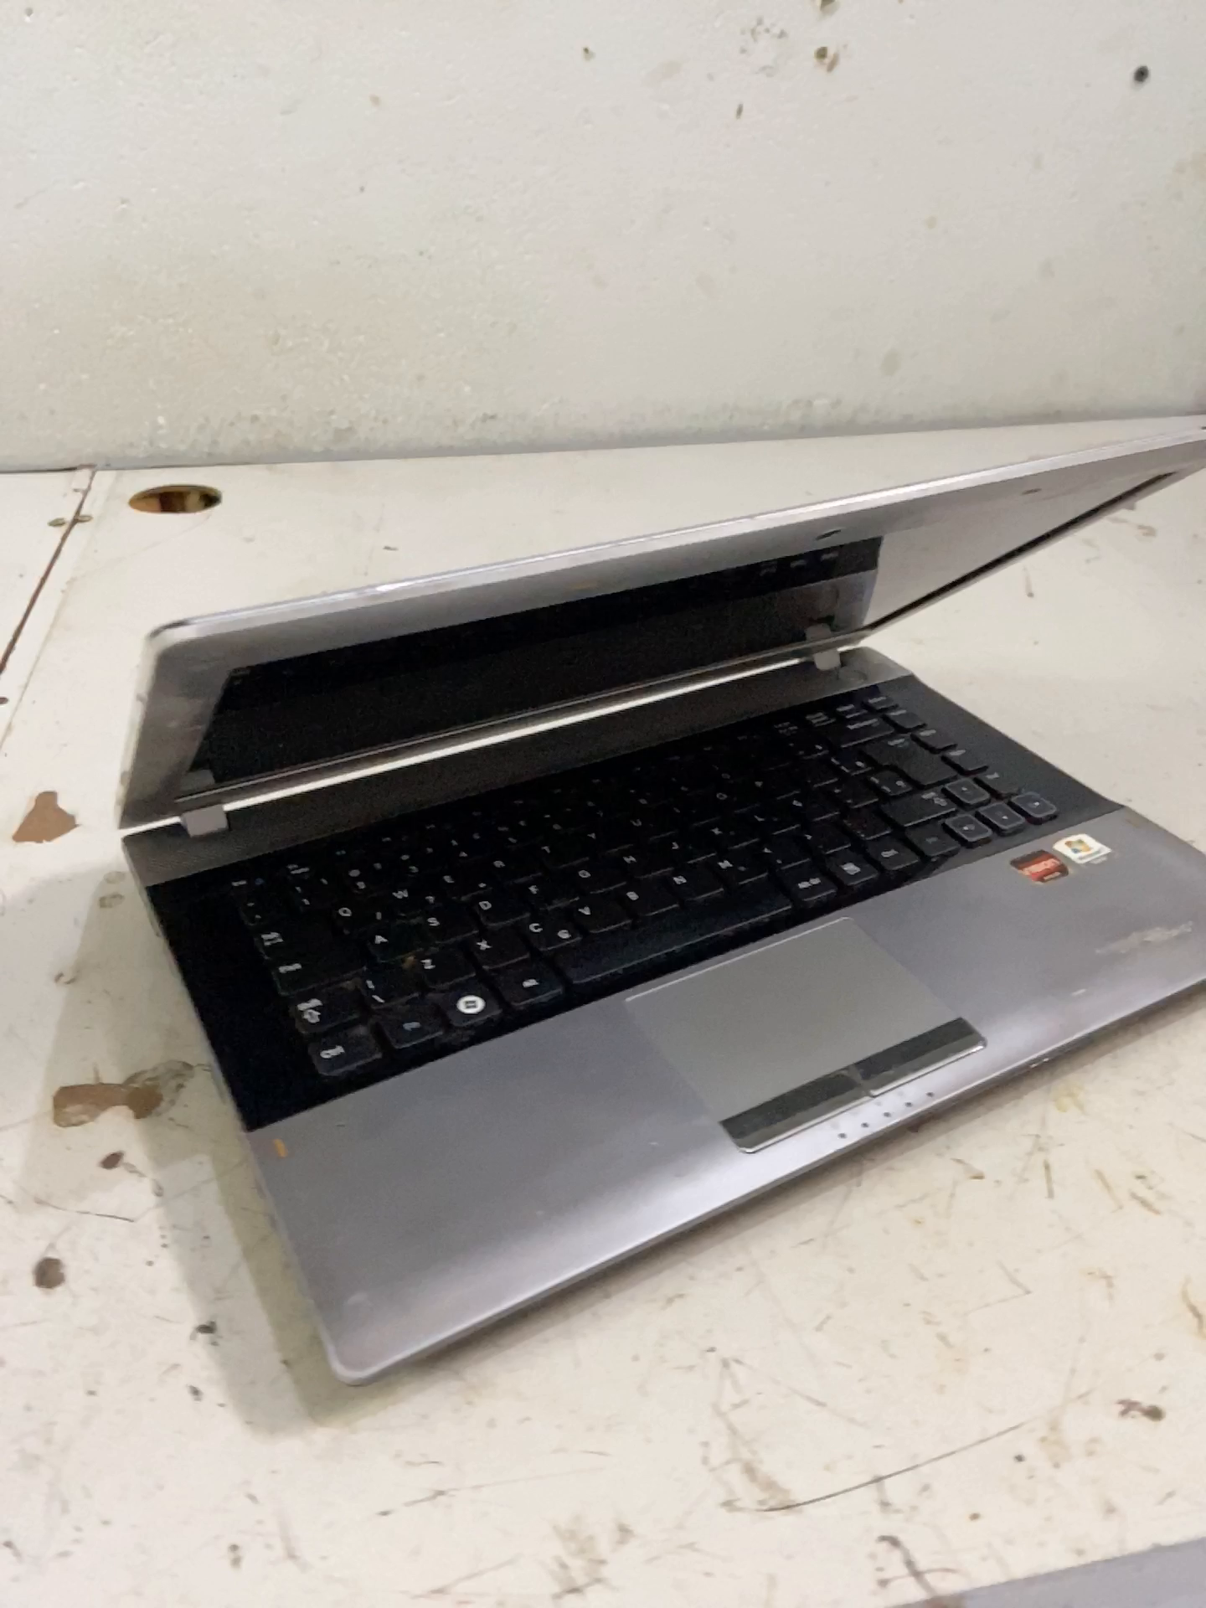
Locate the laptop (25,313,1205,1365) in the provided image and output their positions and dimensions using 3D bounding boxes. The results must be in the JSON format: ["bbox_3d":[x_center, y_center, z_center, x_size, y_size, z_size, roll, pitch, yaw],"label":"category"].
[{"bbox_3d":[0.035,-0.039,0.397,0.345,0.150,0.234,-16,37,-25],"label":"laptop"}]
